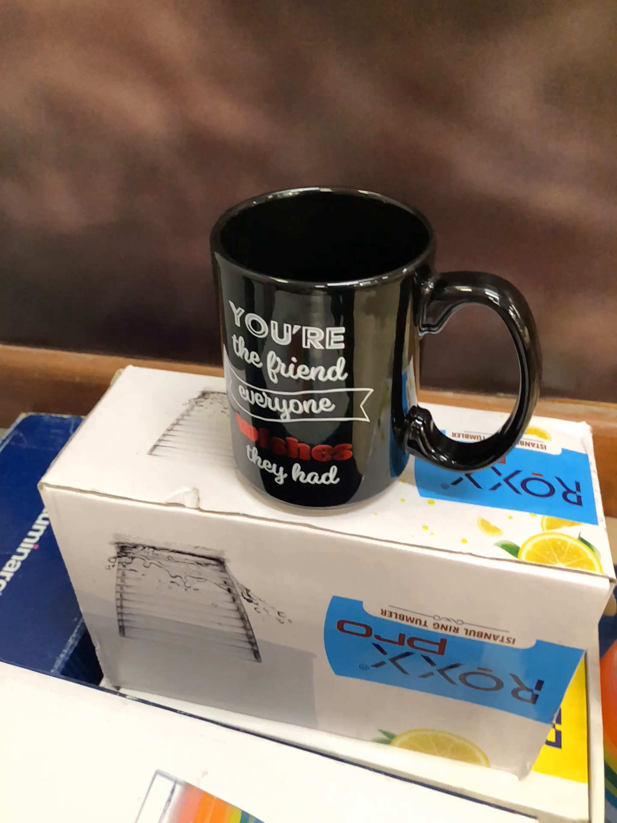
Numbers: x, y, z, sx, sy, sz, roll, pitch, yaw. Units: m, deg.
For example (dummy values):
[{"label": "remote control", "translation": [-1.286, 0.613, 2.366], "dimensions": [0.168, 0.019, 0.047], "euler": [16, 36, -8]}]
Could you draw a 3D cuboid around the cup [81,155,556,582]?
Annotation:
[{"label": "cup", "translation": [0.013, -0.022, 0.248], "dimensions": [0.130, 0.109, 0.091], "euler": [7, 38, 15]}]
